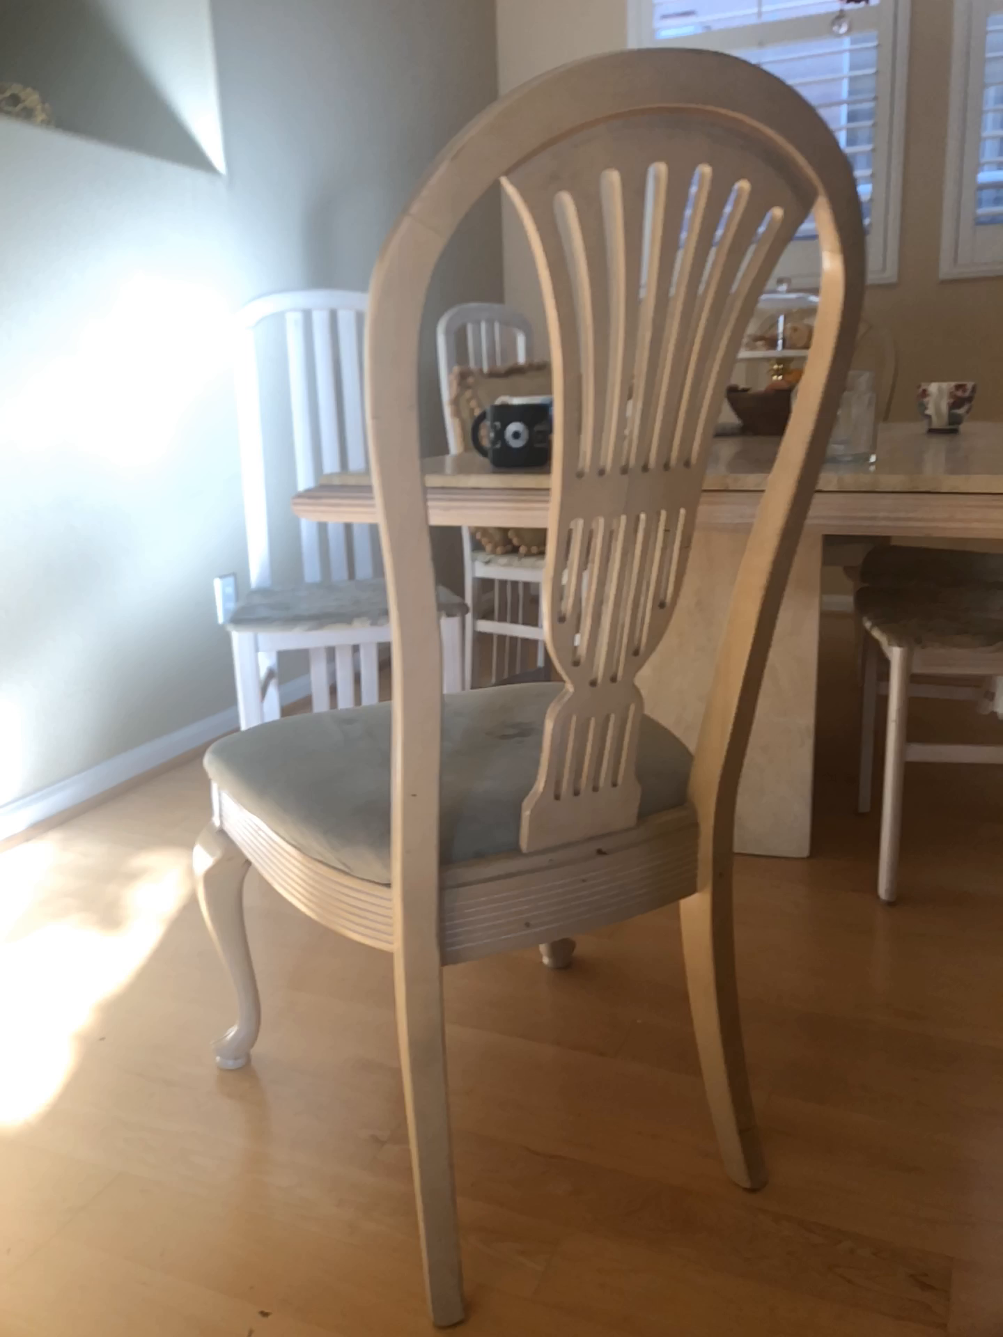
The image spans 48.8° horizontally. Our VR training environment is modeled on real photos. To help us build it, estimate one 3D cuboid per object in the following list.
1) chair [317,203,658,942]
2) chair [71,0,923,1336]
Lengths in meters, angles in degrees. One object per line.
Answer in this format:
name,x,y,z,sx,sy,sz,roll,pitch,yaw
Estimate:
chair,-0.050,-0.231,2.551,0.631,1.454,0.672,-4,11,-8
chair,-0.049,0.045,1.221,0.592,1.293,0.632,-9,17,-25
